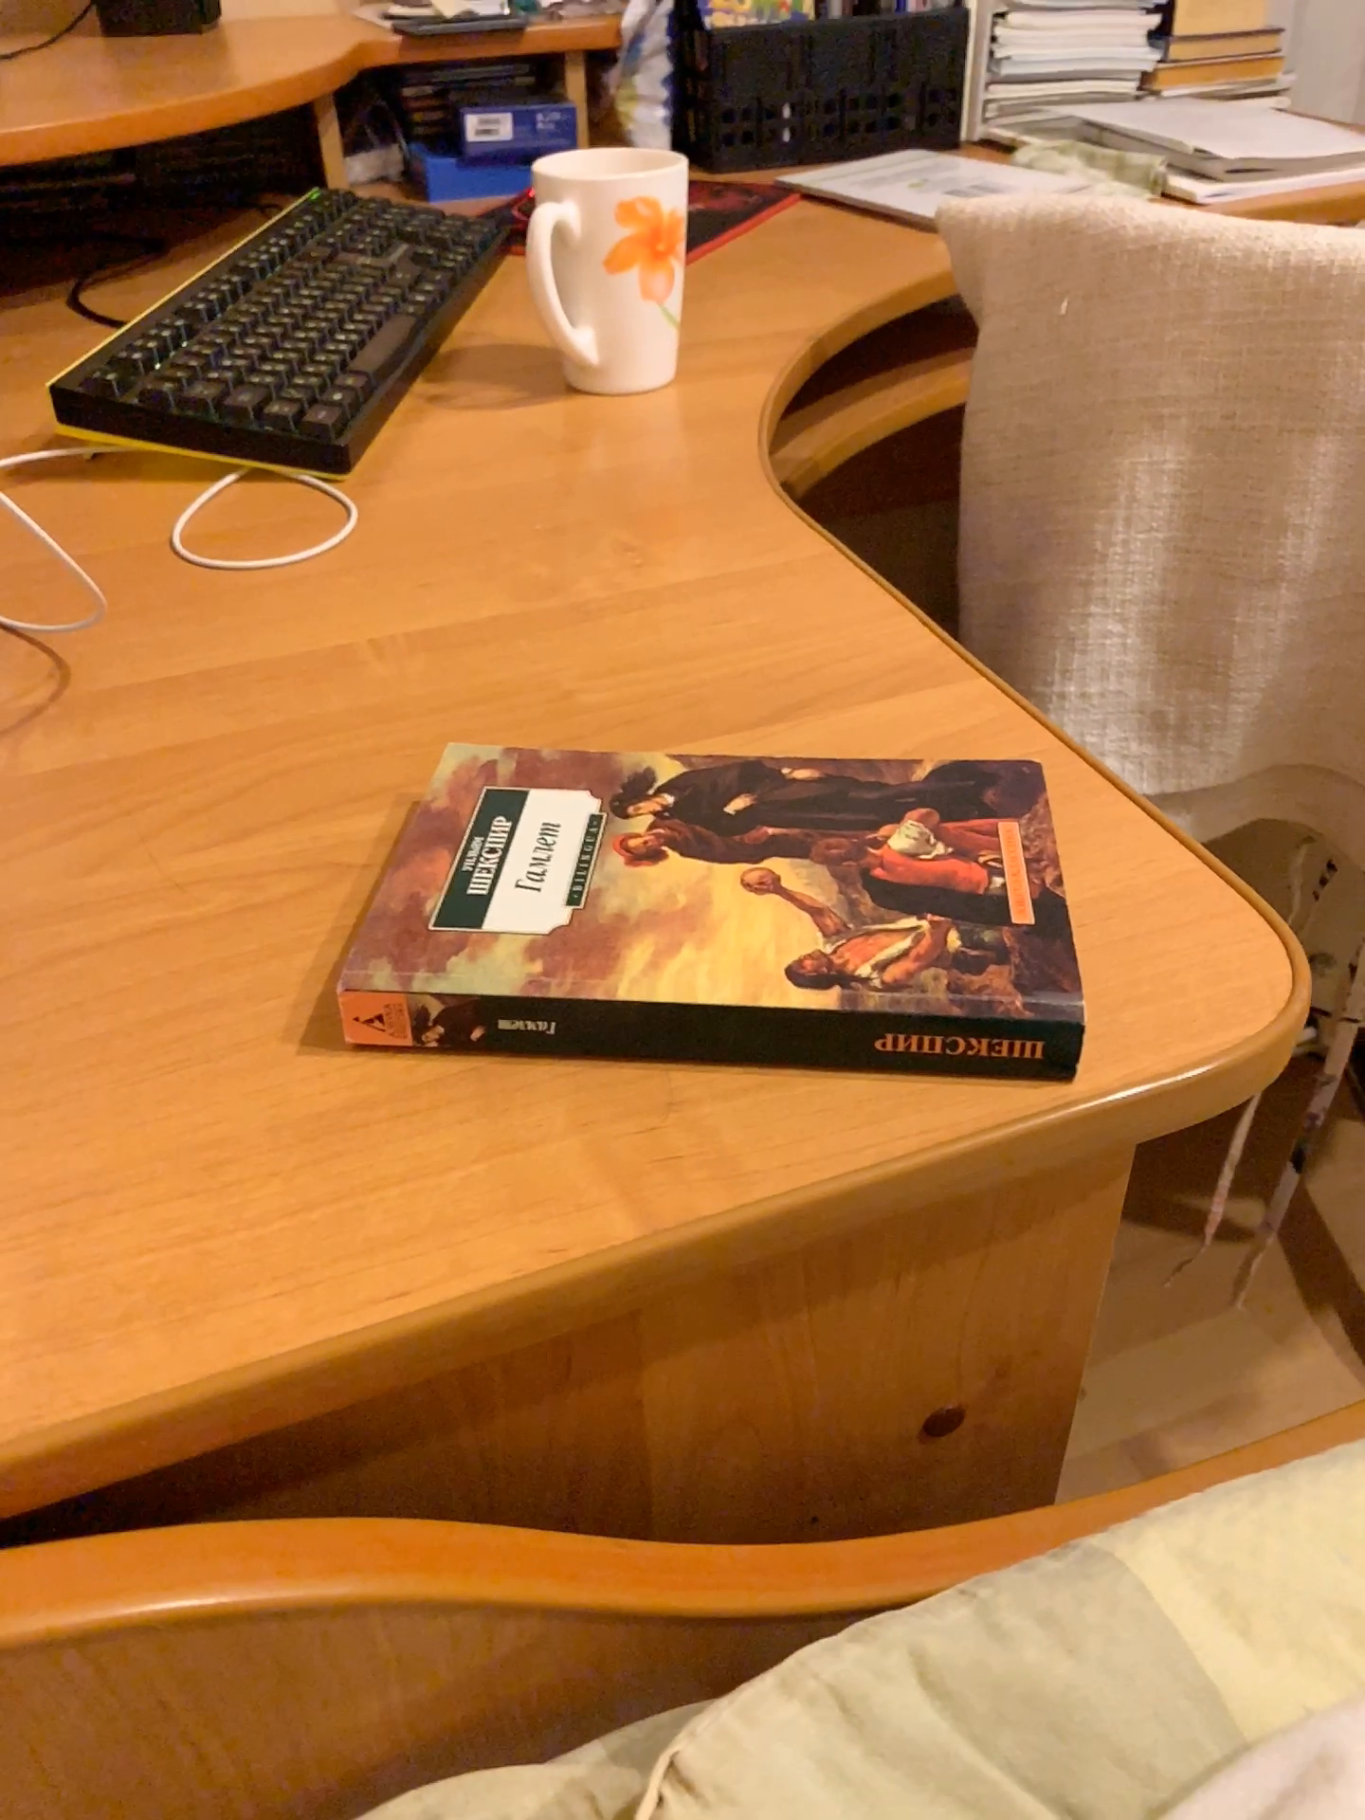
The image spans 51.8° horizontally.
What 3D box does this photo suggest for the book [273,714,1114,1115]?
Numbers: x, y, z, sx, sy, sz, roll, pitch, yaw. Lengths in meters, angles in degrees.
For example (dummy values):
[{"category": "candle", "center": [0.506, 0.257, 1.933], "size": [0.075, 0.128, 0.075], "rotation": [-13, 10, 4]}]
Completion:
[{"category": "book", "center": [0.007, -0.006, 0.373], "size": [0.190, 0.030, 0.121], "rotation": [3, 37, 6]}]
